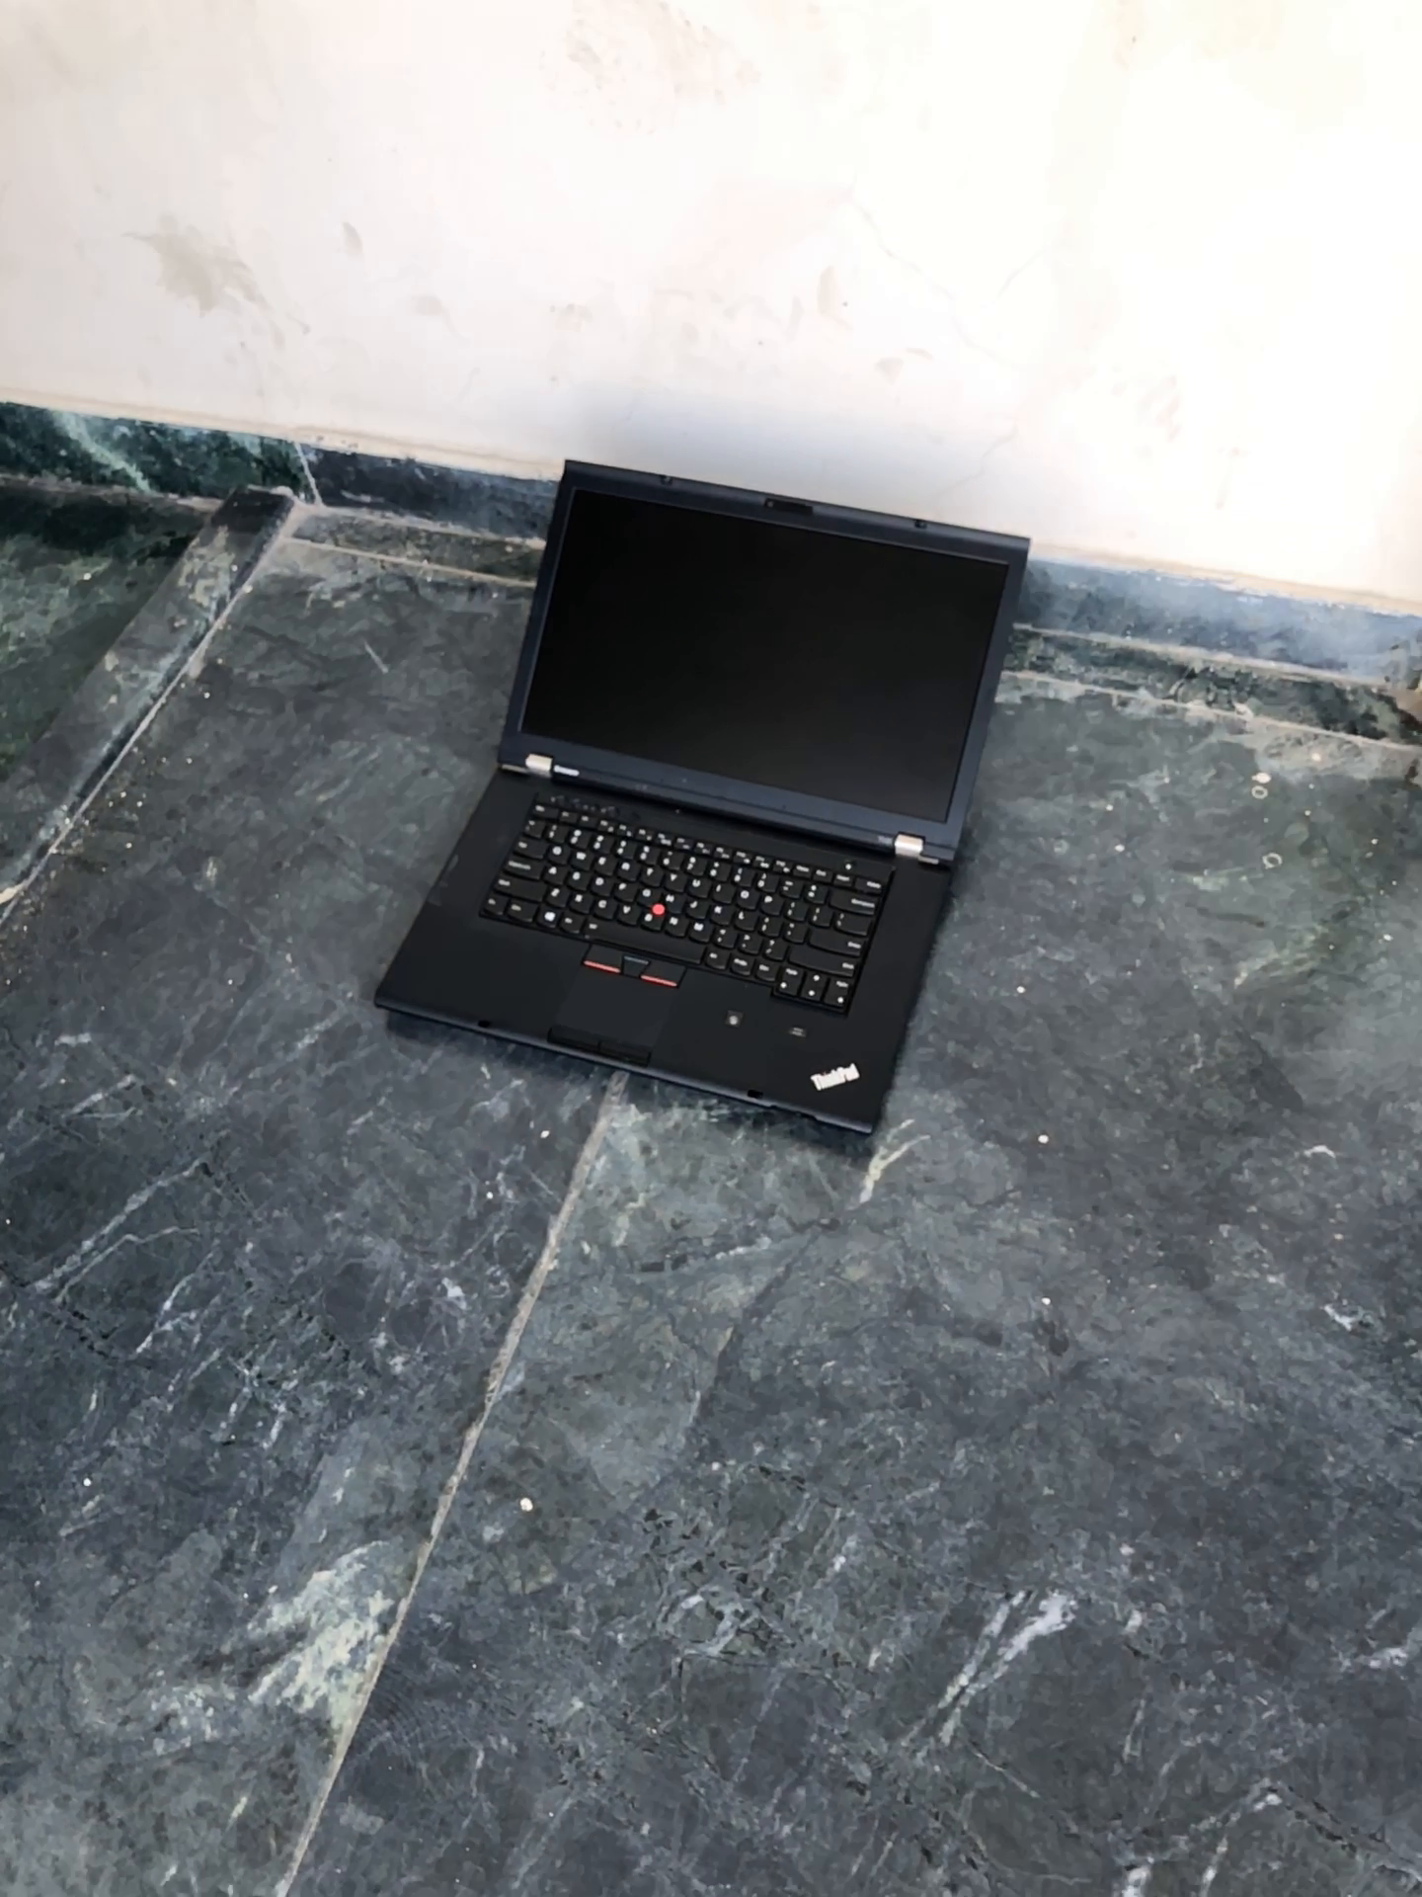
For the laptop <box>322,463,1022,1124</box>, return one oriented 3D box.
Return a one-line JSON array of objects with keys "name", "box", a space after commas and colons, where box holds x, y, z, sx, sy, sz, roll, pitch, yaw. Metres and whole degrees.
[{"name": "laptop", "box": [-0.004, -0.115, 0.983, 0.311, 0.115, 0.376, 13, 57, 13]}]
